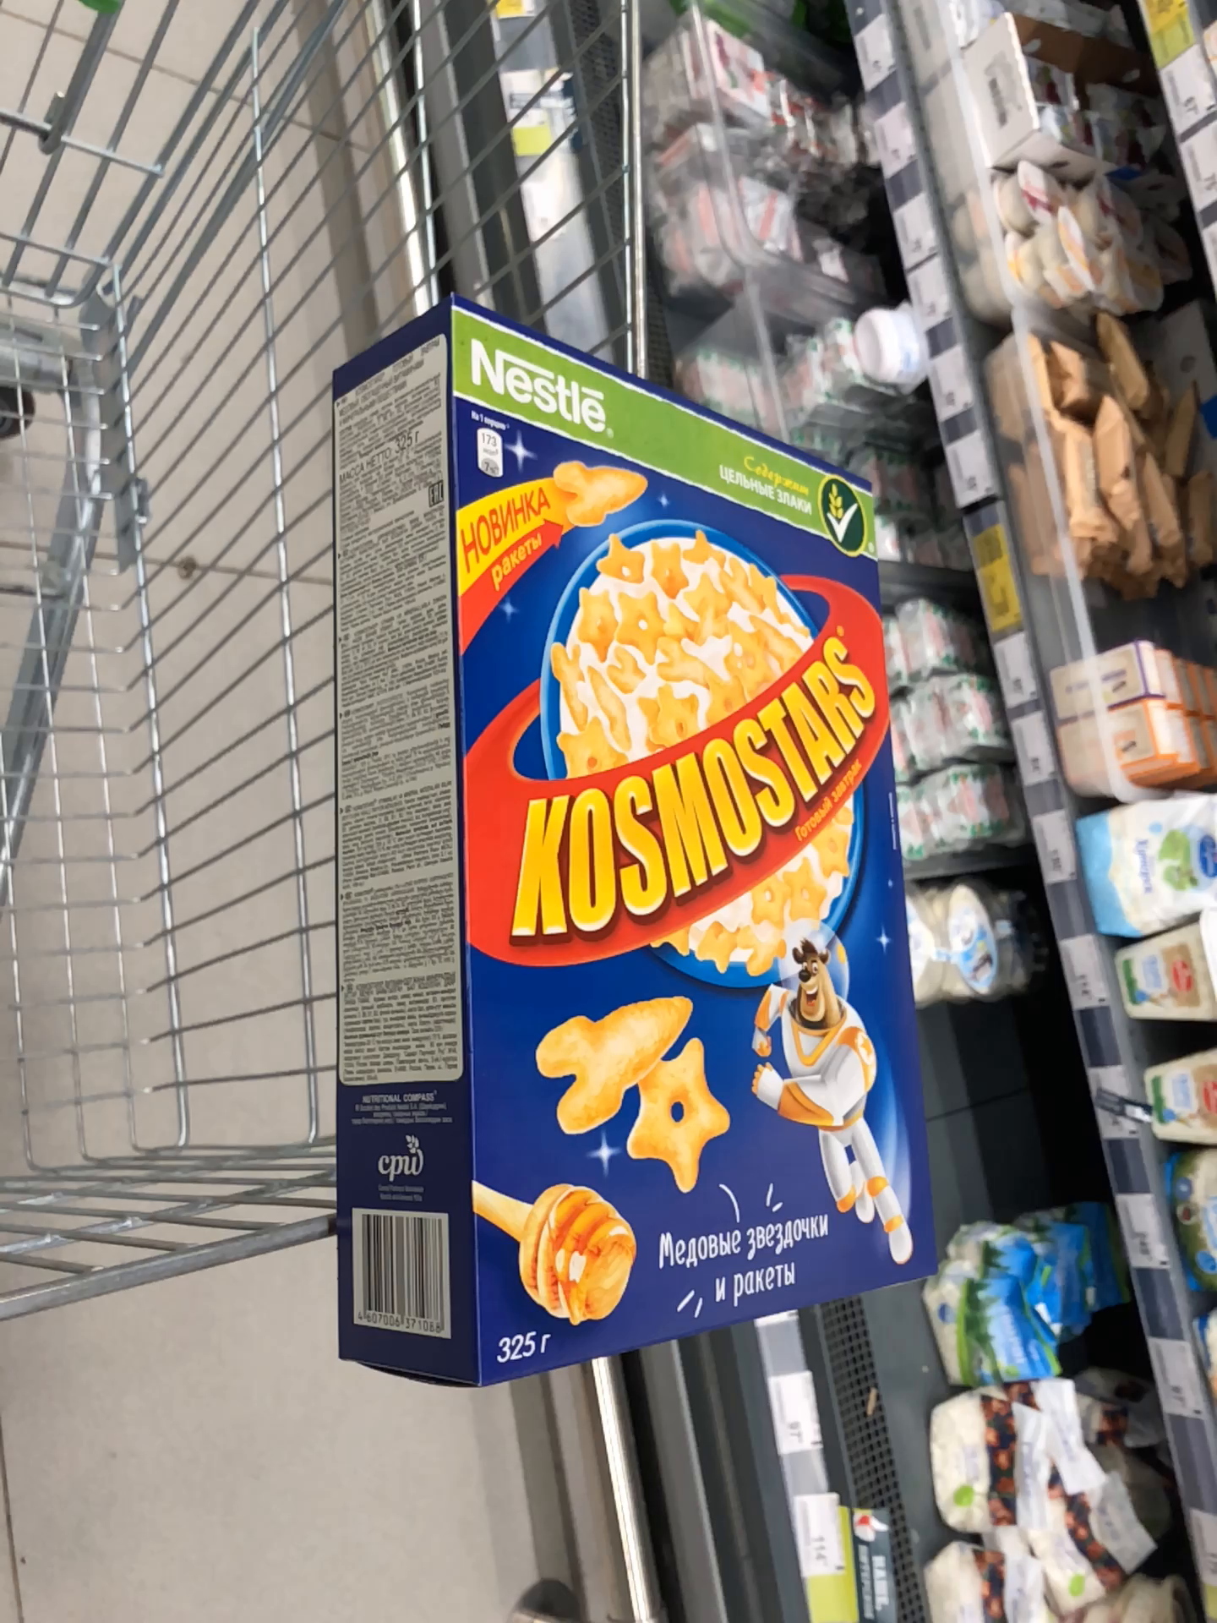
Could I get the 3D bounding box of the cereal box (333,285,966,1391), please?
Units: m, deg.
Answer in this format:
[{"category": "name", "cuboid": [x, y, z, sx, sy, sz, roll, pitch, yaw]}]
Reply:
[{"category": "cereal box", "cuboid": [0.018, 0.010, 0.425, 0.201, 0.060, 0.280, 7, 75, -42]}]
